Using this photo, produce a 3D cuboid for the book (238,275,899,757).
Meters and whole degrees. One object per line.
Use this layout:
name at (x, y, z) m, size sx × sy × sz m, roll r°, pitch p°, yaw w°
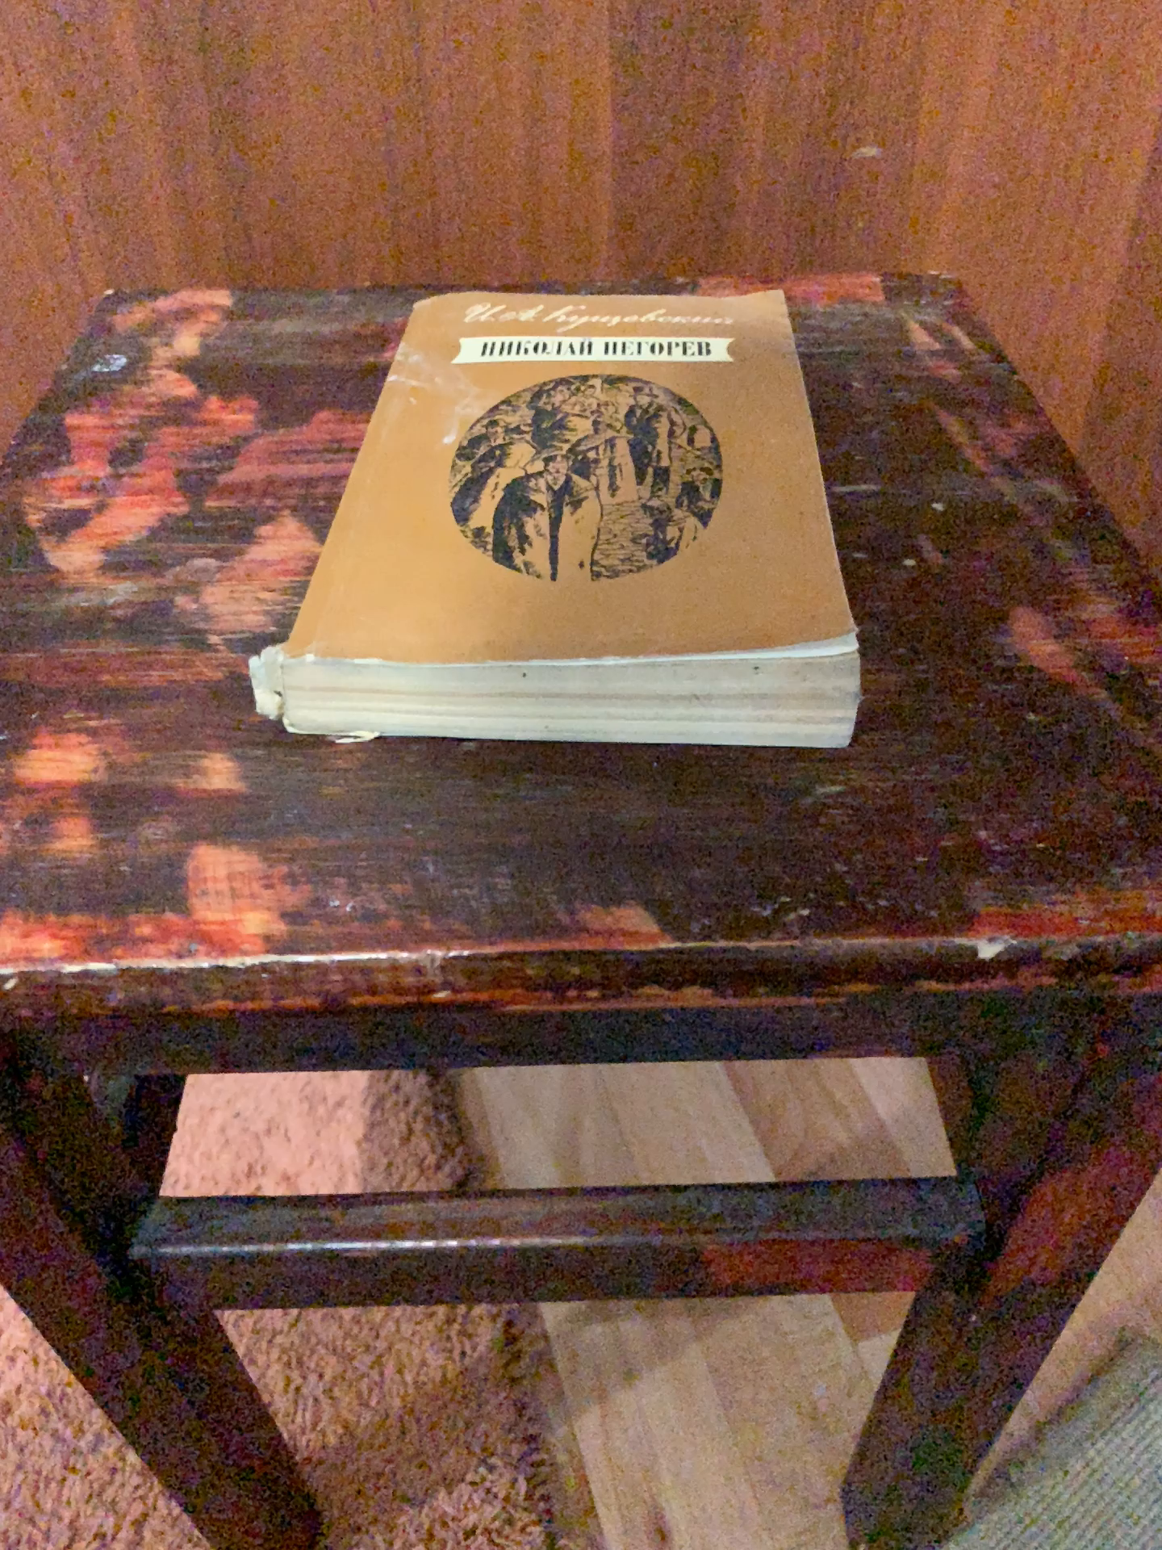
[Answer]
book at (0.001, -0.079, 0.314) m, size 0.130 × 0.024 × 0.192 m, roll -1°, pitch 43°, yaw 3°
